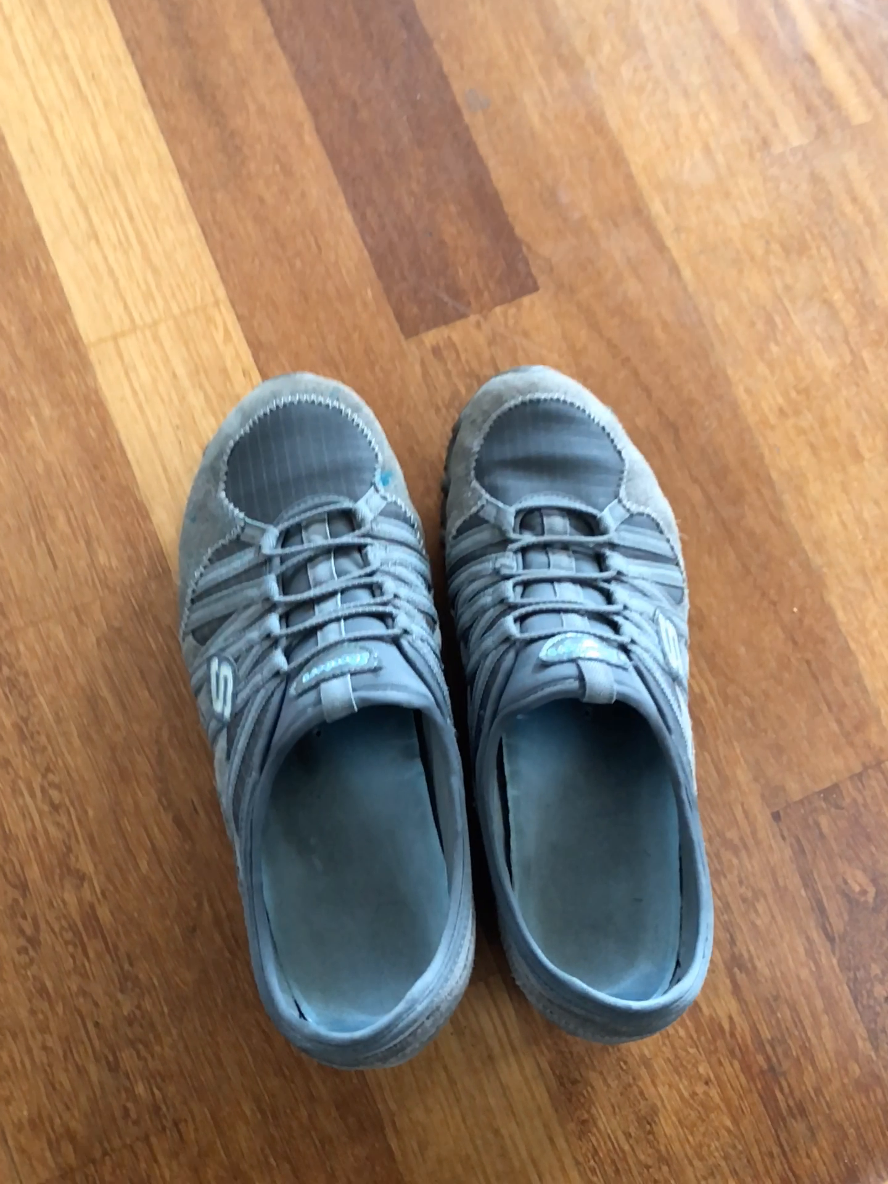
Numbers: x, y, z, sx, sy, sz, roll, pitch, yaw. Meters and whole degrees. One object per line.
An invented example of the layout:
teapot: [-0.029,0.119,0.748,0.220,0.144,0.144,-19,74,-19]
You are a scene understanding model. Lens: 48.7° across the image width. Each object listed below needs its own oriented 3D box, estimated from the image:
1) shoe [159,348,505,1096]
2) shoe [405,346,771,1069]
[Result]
shoe: [-0.047,0.045,0.399,0.096,0.106,0.253,-6,82,-7]
shoe: [0.048,0.041,0.405,0.093,0.106,0.249,-6,82,-7]
